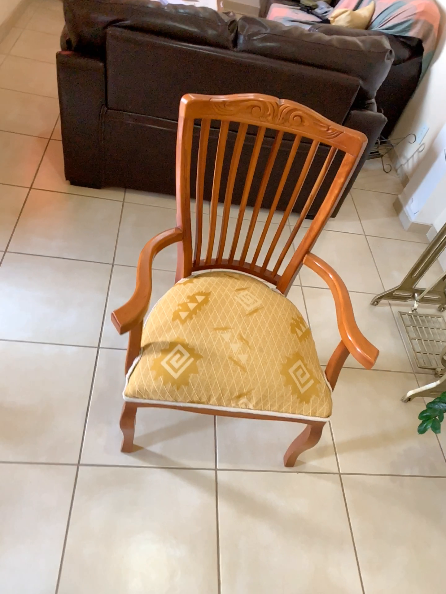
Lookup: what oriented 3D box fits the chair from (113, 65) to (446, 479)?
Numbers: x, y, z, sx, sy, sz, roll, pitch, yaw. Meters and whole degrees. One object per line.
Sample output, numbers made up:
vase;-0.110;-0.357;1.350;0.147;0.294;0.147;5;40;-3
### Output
chair;0.054;0.023;1.356;0.620;1.014;0.633;8;48;-9
